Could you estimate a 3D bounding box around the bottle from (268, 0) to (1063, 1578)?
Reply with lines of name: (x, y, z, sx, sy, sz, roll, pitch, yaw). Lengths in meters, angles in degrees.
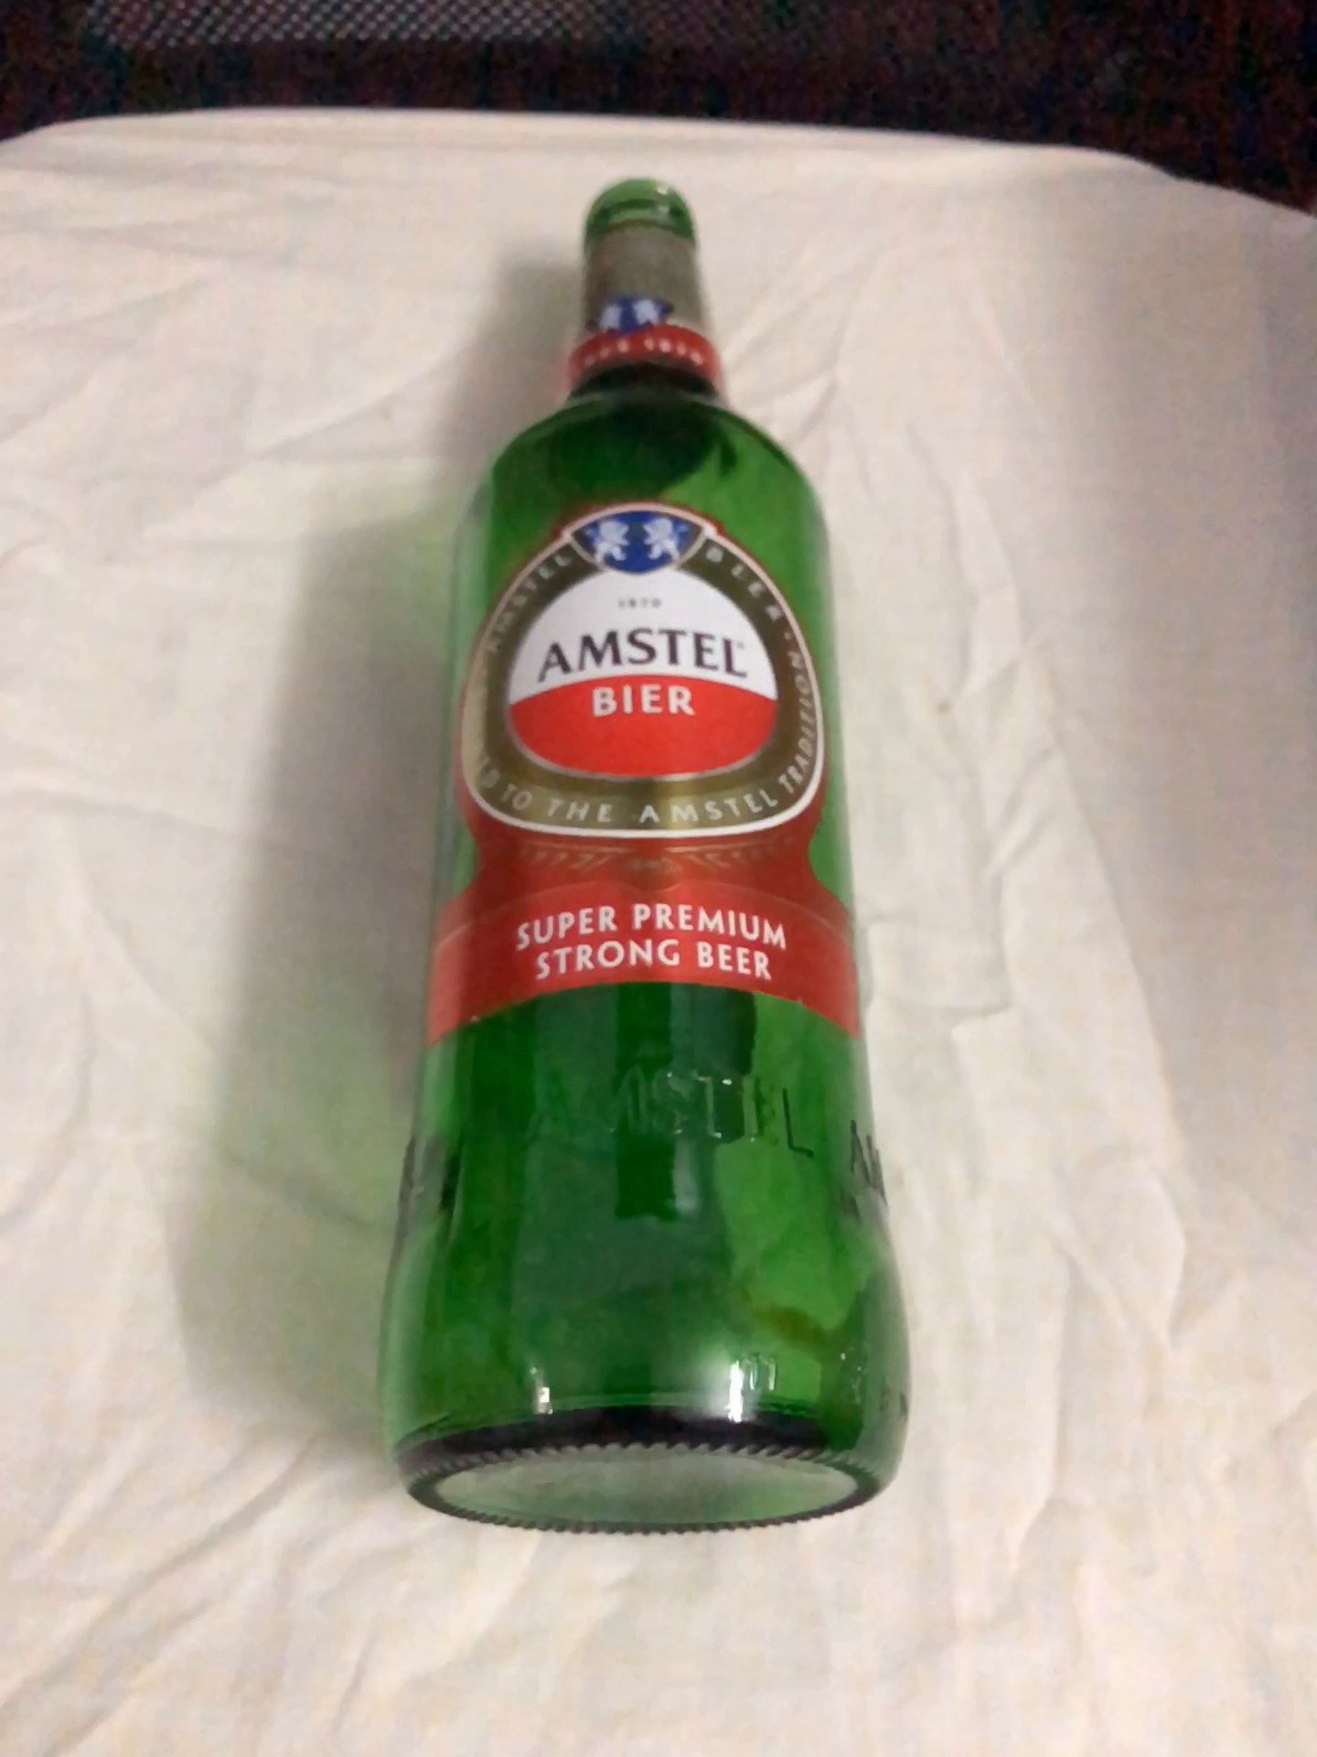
bottle: (-0.002, -0.061, 0.304, 0.090, 0.080, 0.361, 2, 55, -3)
